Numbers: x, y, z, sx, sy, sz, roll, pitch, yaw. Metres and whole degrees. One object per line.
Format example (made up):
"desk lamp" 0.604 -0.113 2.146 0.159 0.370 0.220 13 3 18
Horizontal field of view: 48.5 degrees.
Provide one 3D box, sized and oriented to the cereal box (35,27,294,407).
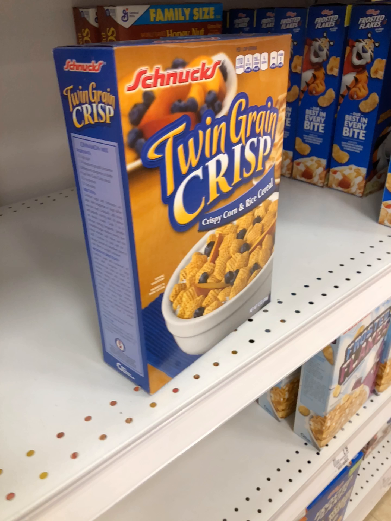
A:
"cereal box" -0.007 -0.049 0.400 0.070 0.289 0.210 22 36 35
